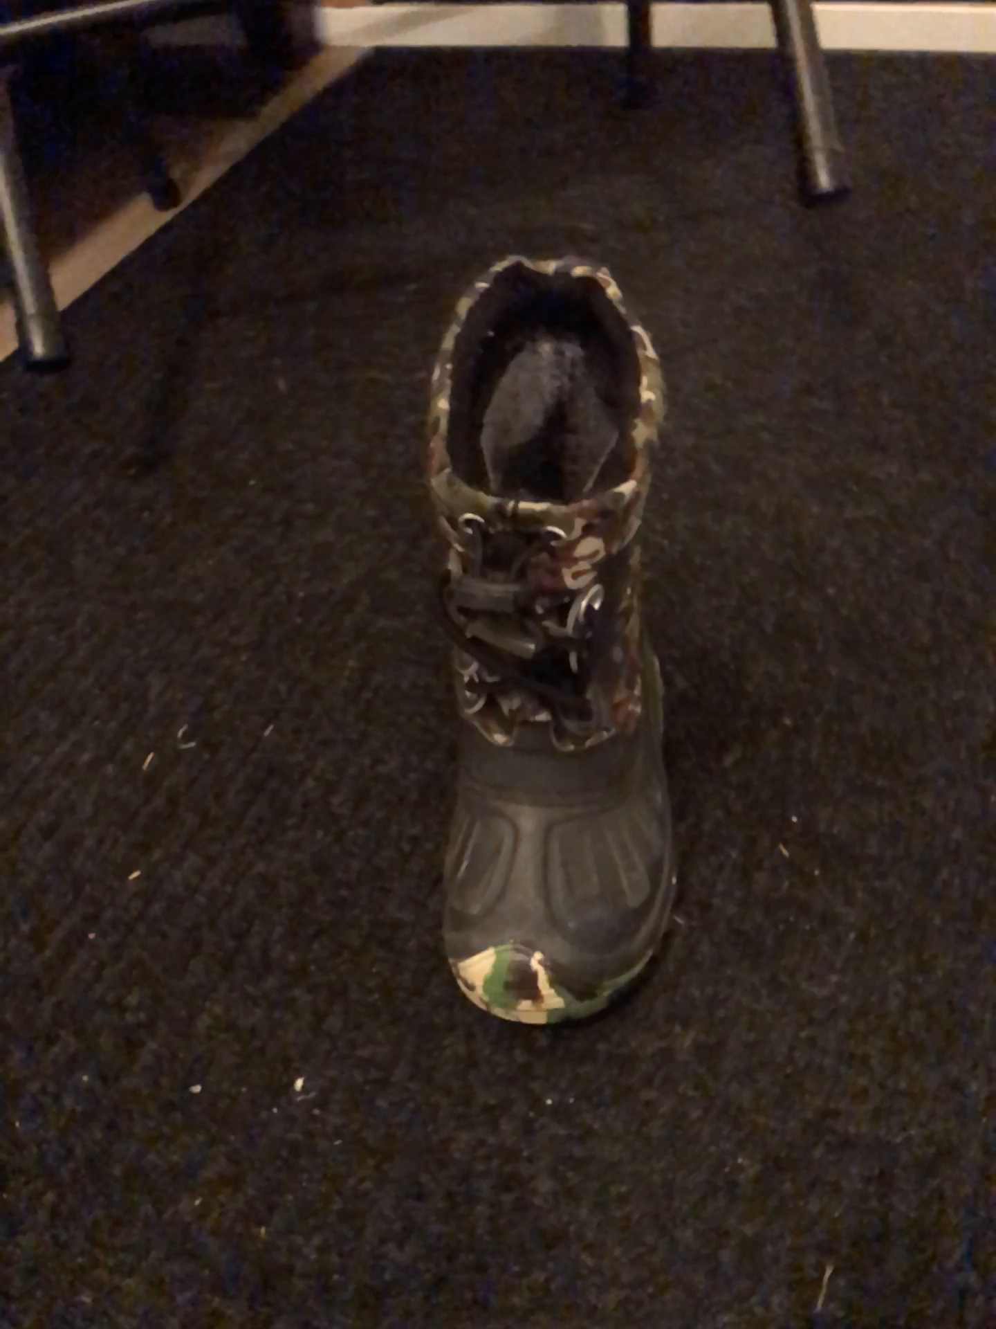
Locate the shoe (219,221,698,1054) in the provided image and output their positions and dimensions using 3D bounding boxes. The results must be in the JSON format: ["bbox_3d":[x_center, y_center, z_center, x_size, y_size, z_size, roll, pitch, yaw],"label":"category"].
[{"bbox_3d":[0.014,-0.009,0.397,0.100,0.209,0.201,3,47,13],"label":"shoe"}]
